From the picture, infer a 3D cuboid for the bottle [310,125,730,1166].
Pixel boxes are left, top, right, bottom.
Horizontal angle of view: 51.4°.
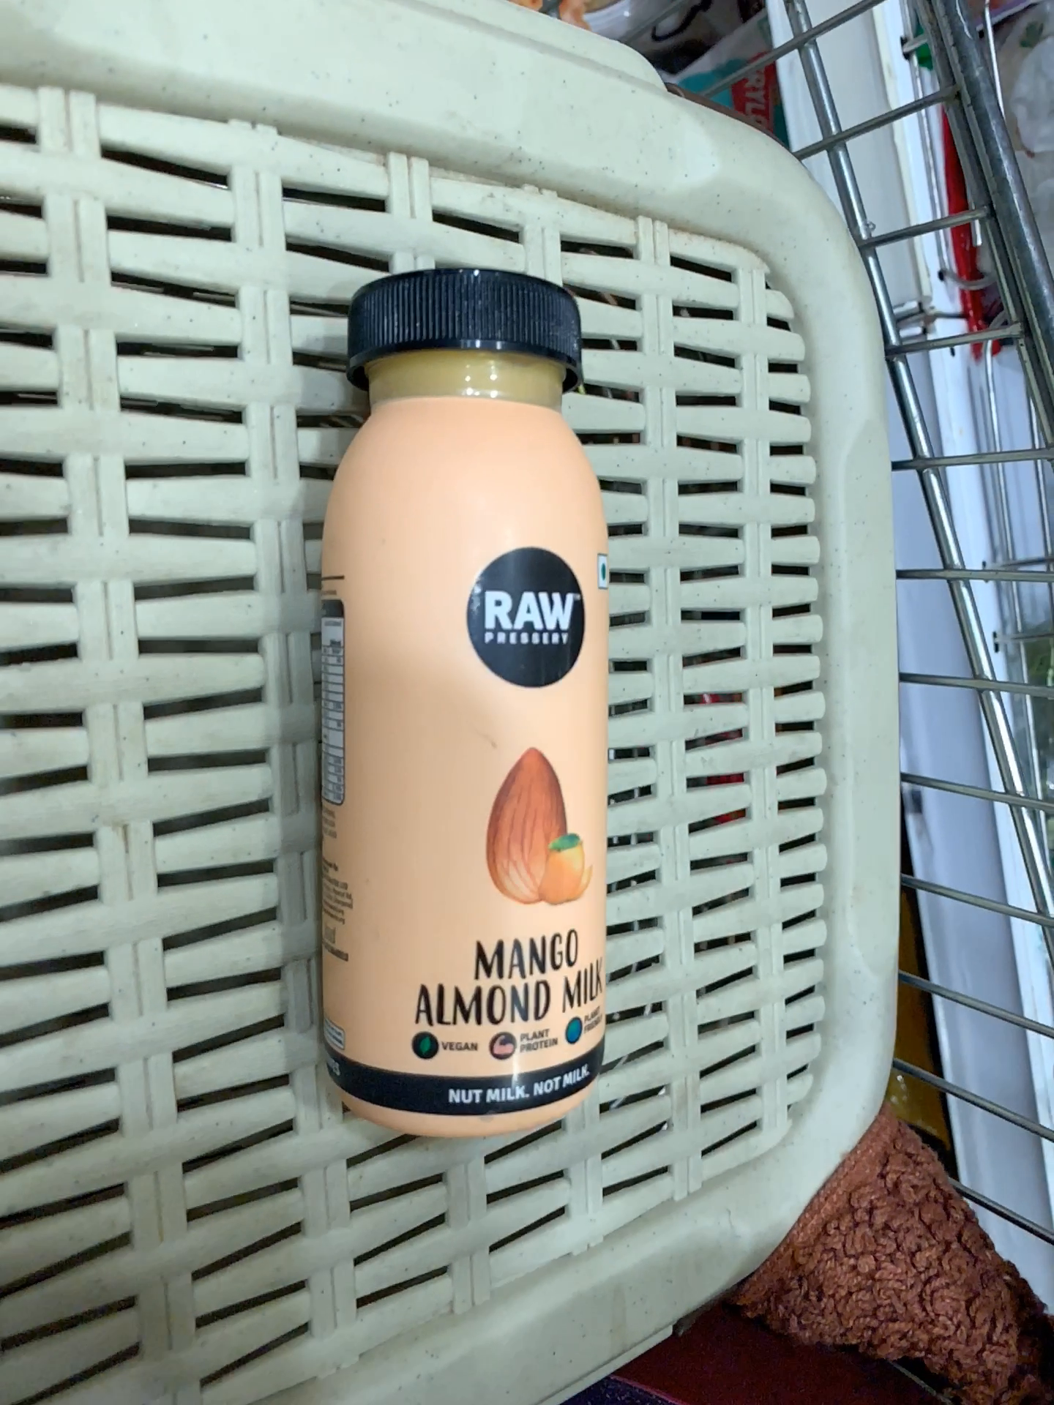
[{"bbox_3d":[-0.001,-0.008,0.192,0.060,0.040,0.150,-1,93,-39],"label":"bottle"}]
